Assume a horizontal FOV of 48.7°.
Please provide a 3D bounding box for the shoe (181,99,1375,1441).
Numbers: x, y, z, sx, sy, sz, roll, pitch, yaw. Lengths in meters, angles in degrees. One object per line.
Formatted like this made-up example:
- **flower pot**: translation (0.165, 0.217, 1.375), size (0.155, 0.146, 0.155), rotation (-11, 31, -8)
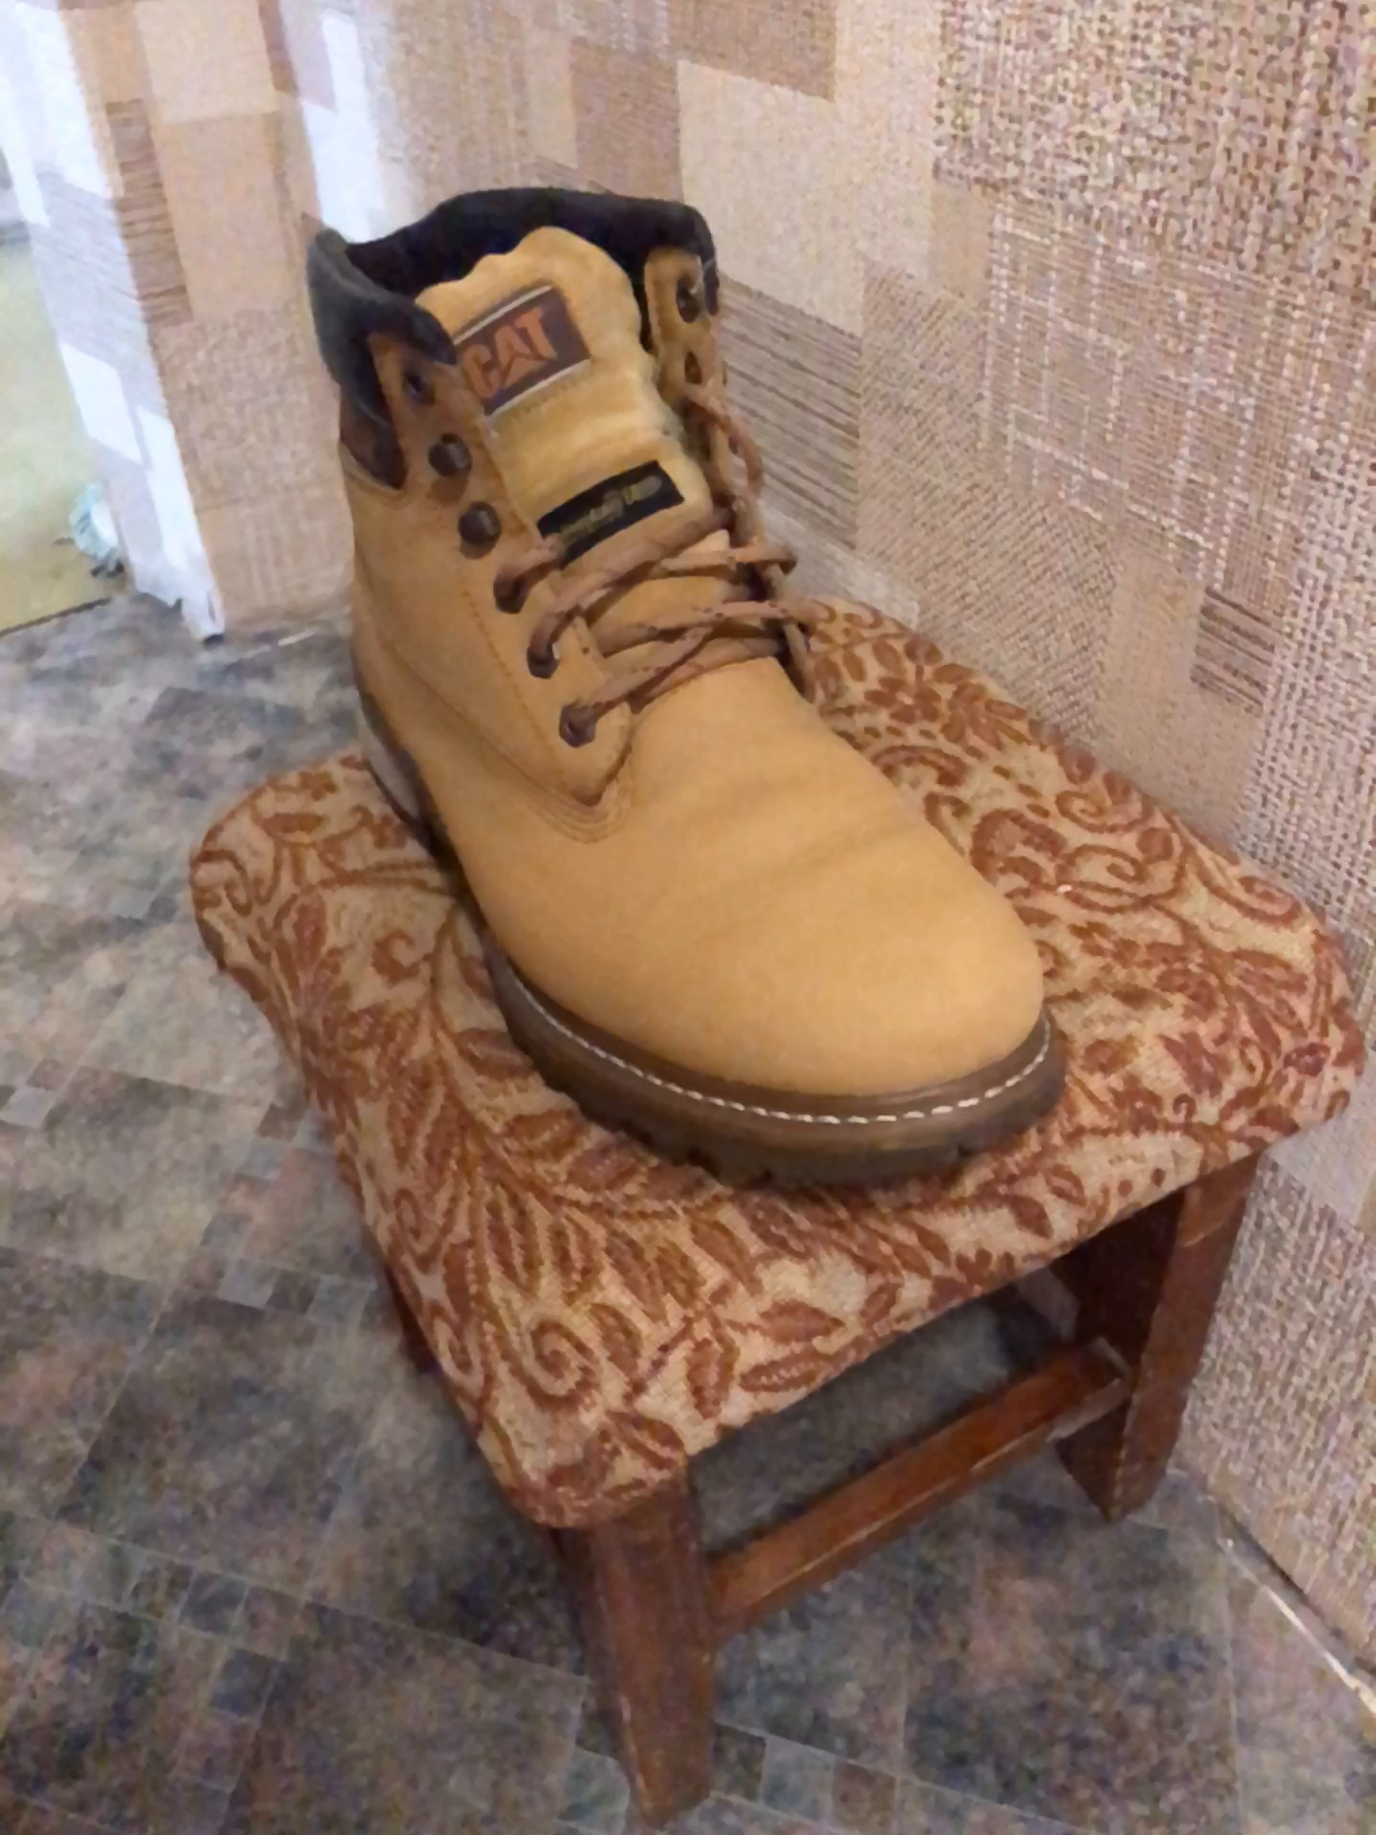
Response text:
- **shoe**: translation (0.010, -0.068, 0.395), size (0.140, 0.189, 0.311), rotation (-24, 45, -24)
